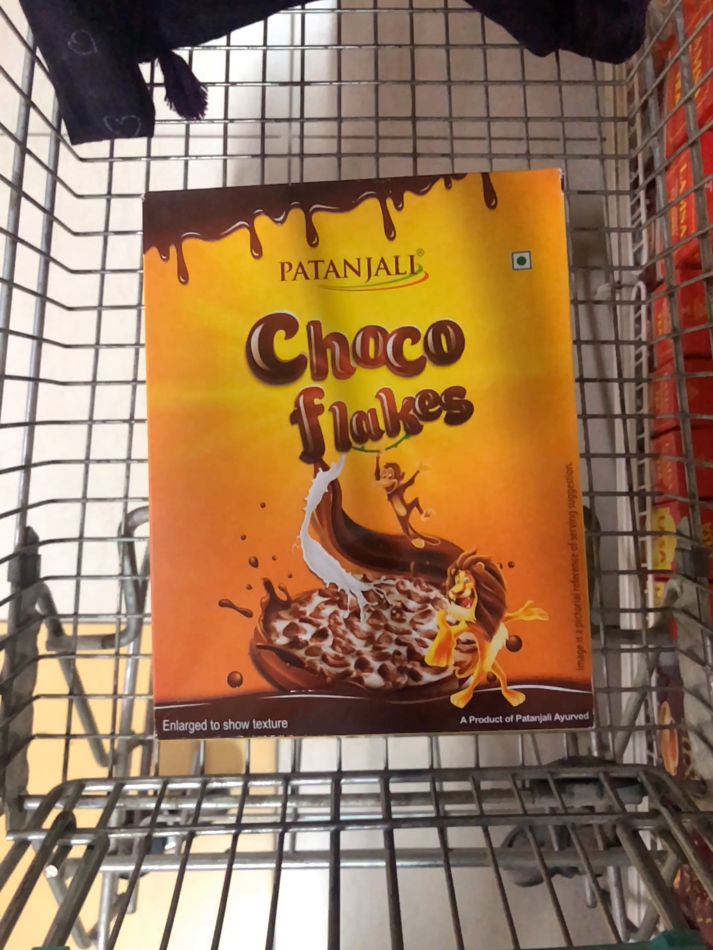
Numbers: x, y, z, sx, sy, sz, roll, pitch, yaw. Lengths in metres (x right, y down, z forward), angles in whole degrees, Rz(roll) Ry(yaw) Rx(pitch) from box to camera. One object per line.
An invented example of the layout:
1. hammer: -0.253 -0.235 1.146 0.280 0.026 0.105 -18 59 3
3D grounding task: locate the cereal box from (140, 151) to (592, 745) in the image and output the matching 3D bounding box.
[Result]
1. cereal box: 0.002 -0.009 0.369 0.170 0.110 0.230 -2 86 1
